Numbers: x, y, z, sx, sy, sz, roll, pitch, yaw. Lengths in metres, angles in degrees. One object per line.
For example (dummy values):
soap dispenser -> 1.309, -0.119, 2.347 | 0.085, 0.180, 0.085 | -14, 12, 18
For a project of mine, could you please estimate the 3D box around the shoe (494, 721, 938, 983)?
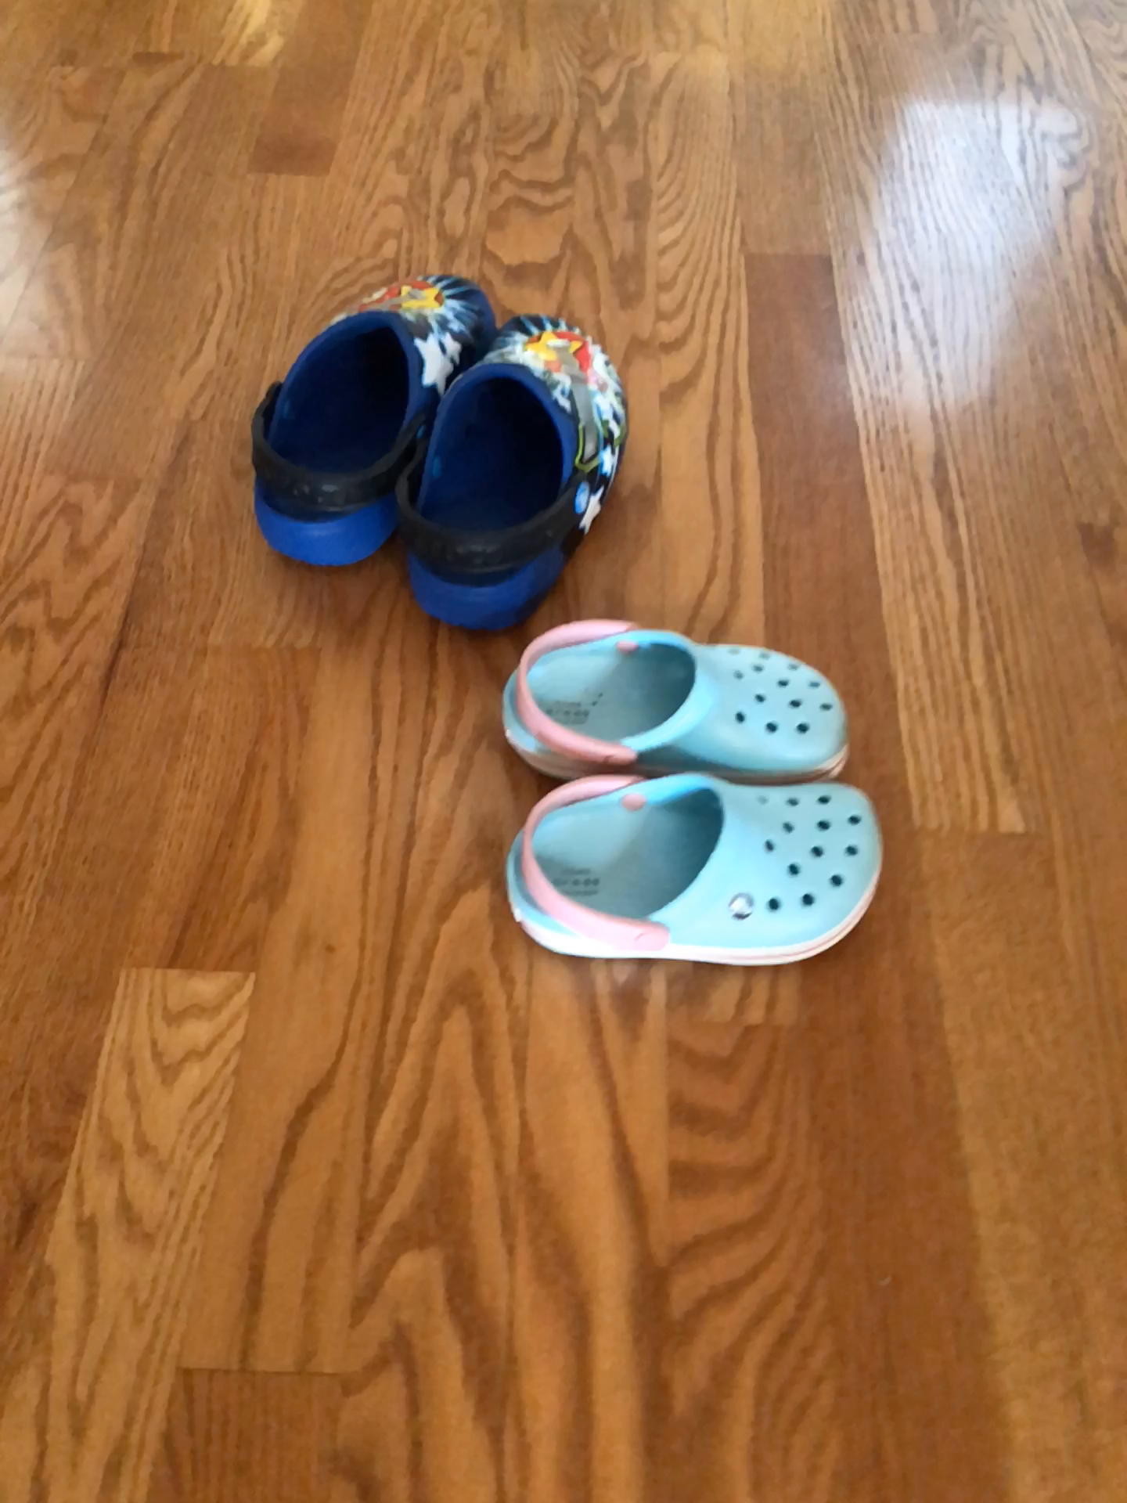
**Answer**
shoe -> 0.057, 0.041, 0.522 | 0.170, 0.050, 0.090 | -2, 54, -2

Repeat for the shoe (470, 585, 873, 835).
shoe -> 0.049, -0.020, 0.570 | 0.170, 0.050, 0.090 | 5, 54, 3

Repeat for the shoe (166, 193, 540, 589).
shoe -> -0.104, -0.206, 0.683 | 0.110, 0.070, 0.231 | 15, 55, 11

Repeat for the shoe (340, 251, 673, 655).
shoe -> -0.022, -0.166, 0.661 | 0.110, 0.070, 0.221 | 13, 55, 9
